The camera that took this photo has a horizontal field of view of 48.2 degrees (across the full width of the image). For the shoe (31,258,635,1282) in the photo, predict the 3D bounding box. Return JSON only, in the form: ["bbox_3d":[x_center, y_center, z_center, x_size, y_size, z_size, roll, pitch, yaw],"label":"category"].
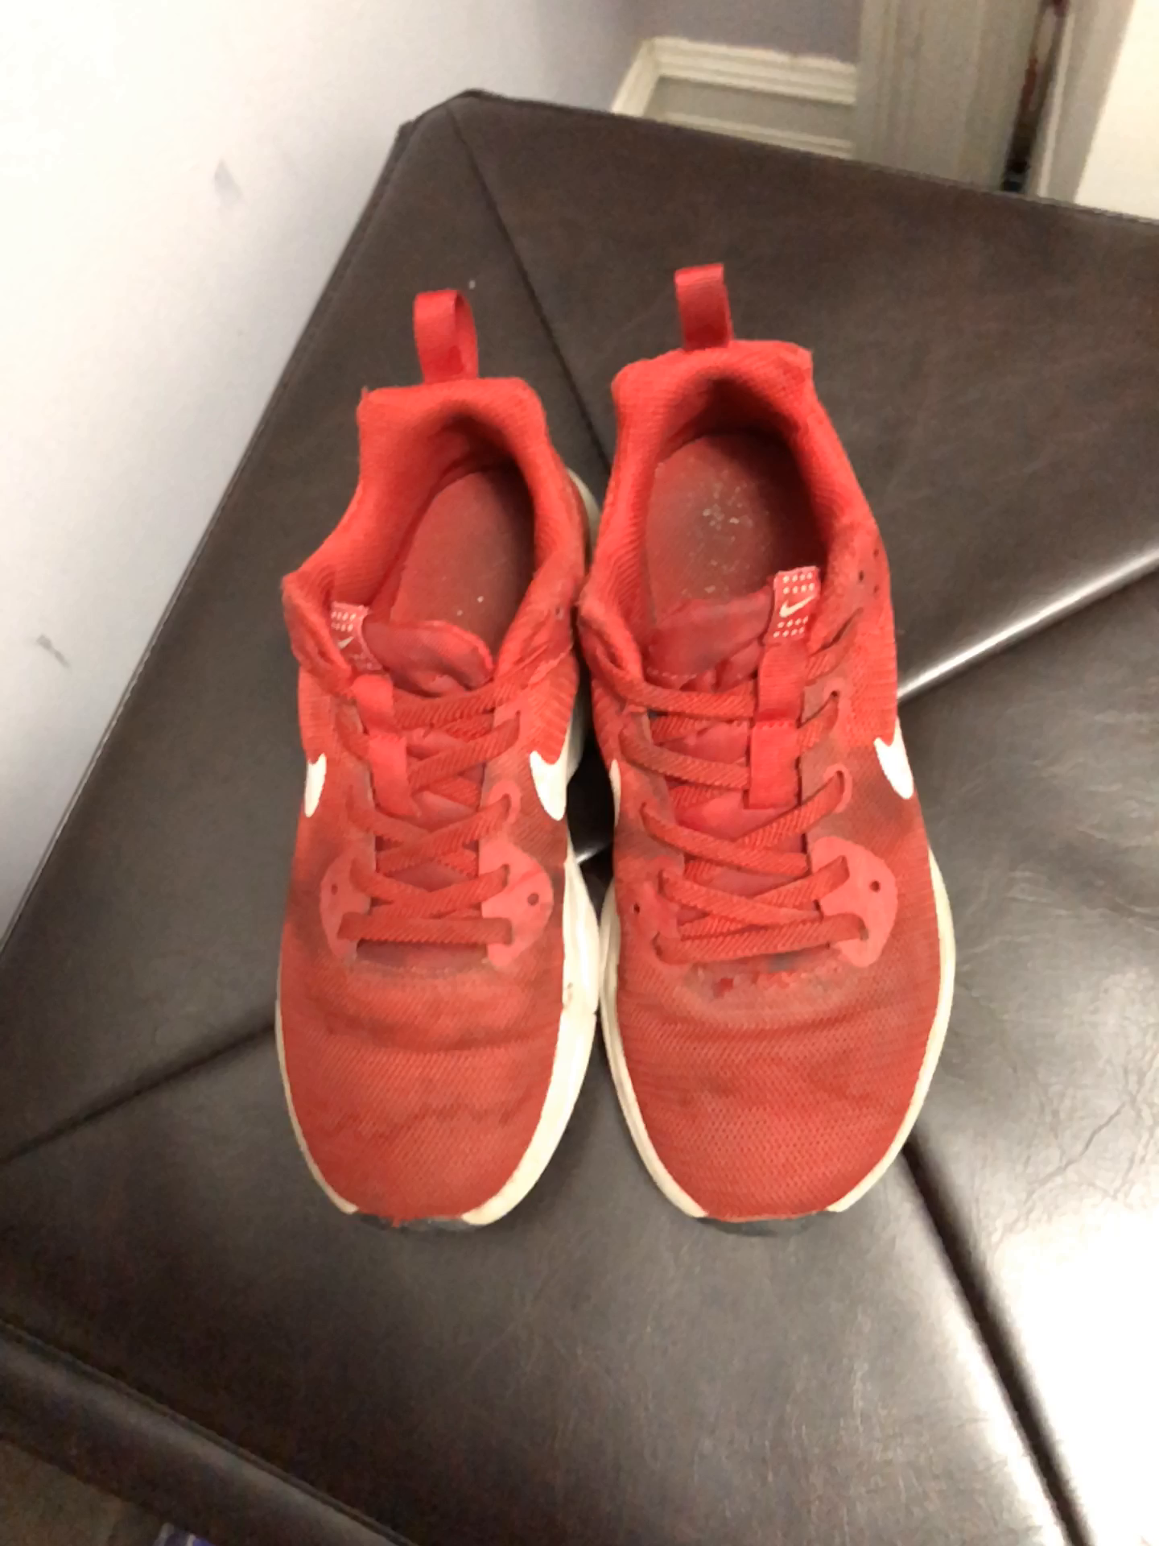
[{"bbox_3d":[-0.047,-0.001,0.325,0.095,0.100,0.220,2,76,10],"label":"shoe"}]

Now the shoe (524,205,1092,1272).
[{"bbox_3d":[0.046,-0.004,0.314,0.095,0.100,0.220,-5,75,7],"label":"shoe"}]
